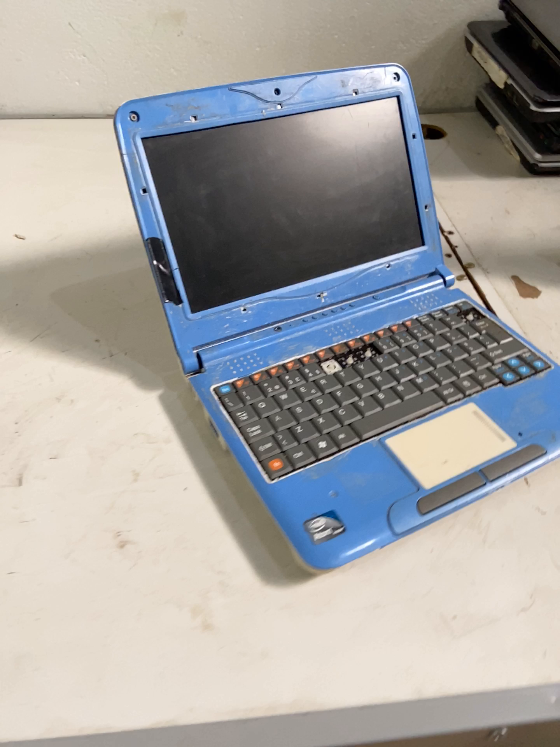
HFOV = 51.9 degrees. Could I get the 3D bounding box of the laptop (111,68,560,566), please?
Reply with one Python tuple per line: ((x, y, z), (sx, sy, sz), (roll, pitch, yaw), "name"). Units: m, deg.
((0.061, -0.074, 0.396), (0.241, 0.149, 0.287), (-20, 48, -22), "laptop")
